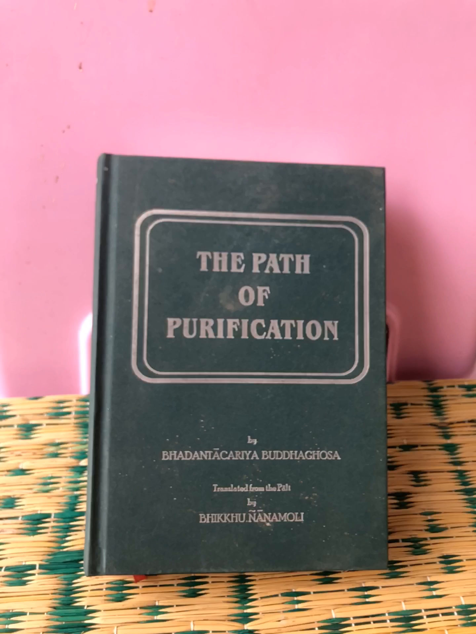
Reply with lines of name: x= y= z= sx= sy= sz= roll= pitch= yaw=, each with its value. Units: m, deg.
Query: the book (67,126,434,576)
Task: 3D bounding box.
book: x=0.006 y=0.016 z=0.291 sx=0.160 sy=0.080 sz=0.210 roll=1 pitch=80 yaw=-2
